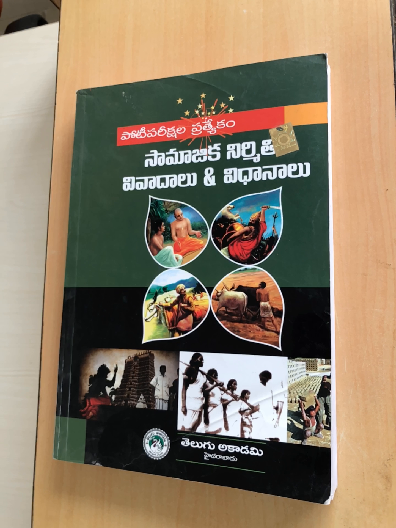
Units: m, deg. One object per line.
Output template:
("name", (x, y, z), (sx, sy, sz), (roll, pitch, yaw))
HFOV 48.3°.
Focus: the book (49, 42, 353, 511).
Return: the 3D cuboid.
("book", (0.003, 0.002, 0.306), (0.190, 0.050, 0.270), (-1, 82, 18))
